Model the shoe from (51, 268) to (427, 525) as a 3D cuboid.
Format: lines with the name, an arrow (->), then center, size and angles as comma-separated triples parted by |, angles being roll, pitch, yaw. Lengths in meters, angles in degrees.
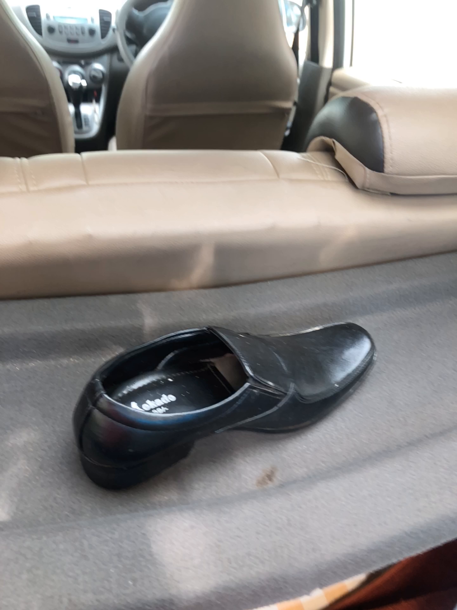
shoe -> 0.018, 0.058, 0.434 | 0.301, 0.080, 0.100 | -16, 42, -28
